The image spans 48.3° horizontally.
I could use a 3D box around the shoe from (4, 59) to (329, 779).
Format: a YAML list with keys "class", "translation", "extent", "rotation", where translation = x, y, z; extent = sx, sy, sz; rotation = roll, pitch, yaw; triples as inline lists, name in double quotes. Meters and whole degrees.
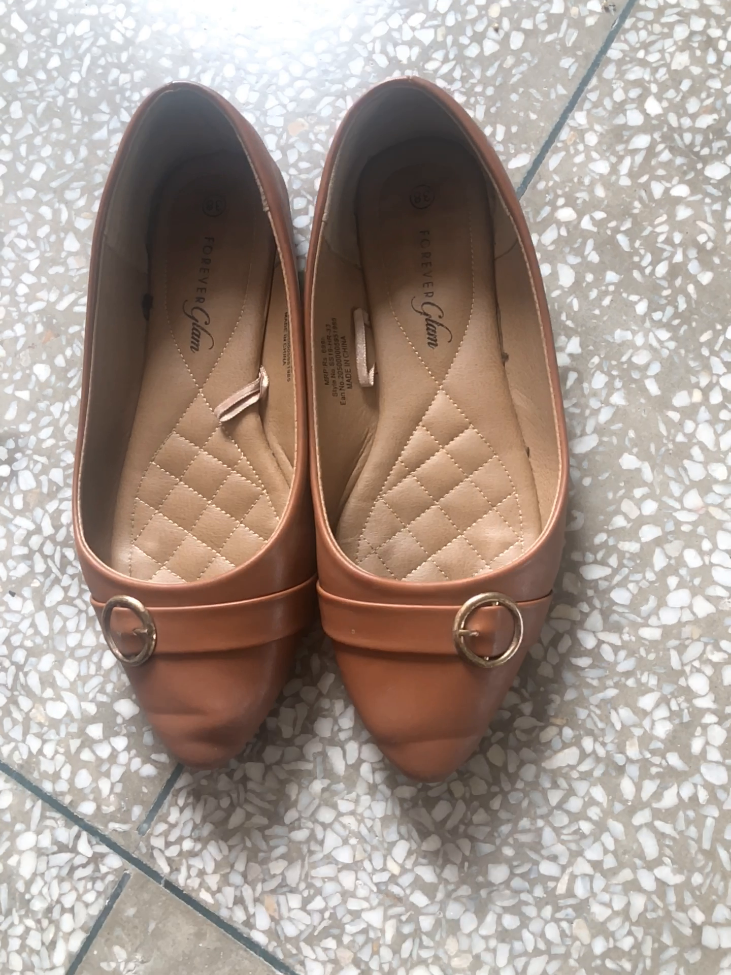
- class: "shoe"
  translation: [-0.074, -0.020, 0.318]
  extent: [0.090, 0.050, 0.250]
  rotation: [-3, 93, 14]

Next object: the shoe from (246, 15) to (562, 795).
- class: "shoe"
  translation: [0.018, -0.022, 0.297]
  extent: [0.090, 0.050, 0.250]
  rotation: [-3, 93, 14]
